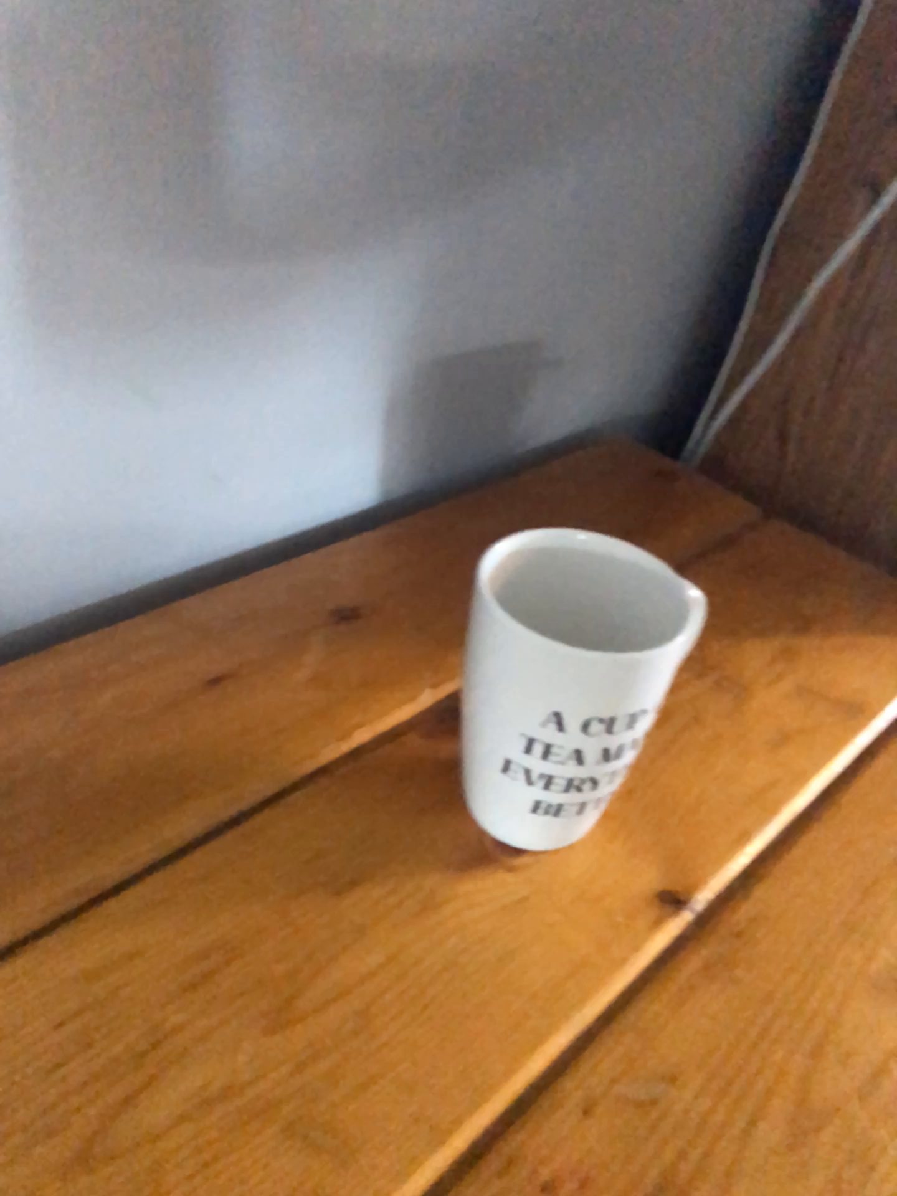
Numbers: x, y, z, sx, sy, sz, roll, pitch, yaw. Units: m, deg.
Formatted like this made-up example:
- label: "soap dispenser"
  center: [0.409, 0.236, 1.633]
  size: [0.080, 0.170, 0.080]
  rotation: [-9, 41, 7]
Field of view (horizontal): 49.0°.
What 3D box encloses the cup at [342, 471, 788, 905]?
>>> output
- label: "cup"
  center: [0.046, 0.032, 0.433]
  size: [0.140, 0.120, 0.100]
  rotation: [-17, 45, -34]
